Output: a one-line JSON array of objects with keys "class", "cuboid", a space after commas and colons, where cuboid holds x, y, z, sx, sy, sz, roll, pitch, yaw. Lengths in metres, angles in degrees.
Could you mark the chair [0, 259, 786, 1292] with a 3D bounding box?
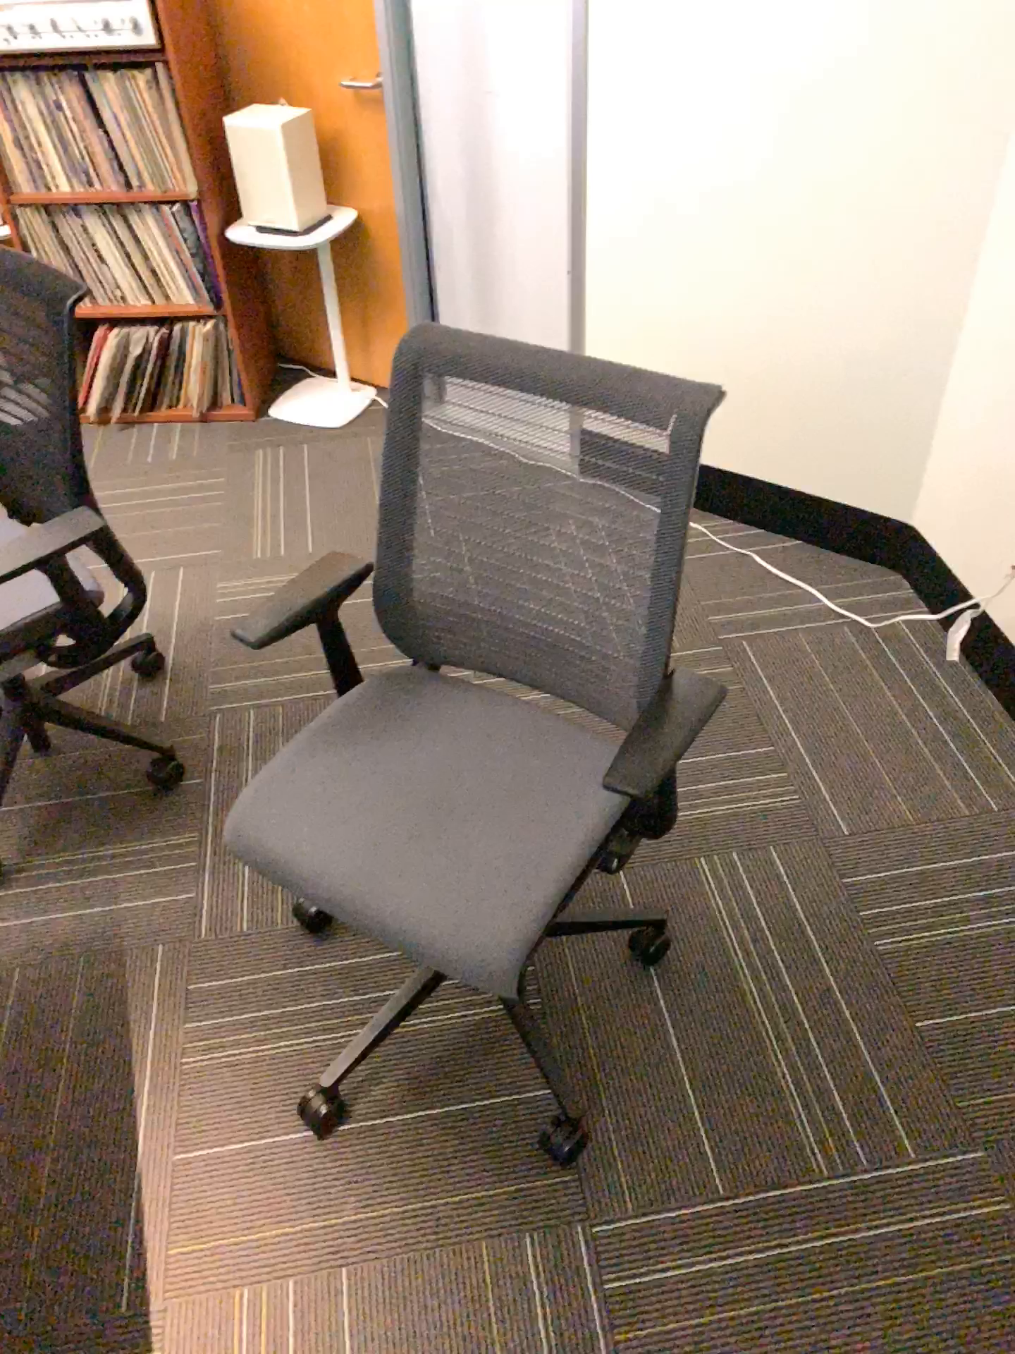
[{"class": "chair", "cuboid": [-0.167, 0.132, 1.551, 0.792, 1.113, 0.803, 18, 46, 22]}]
